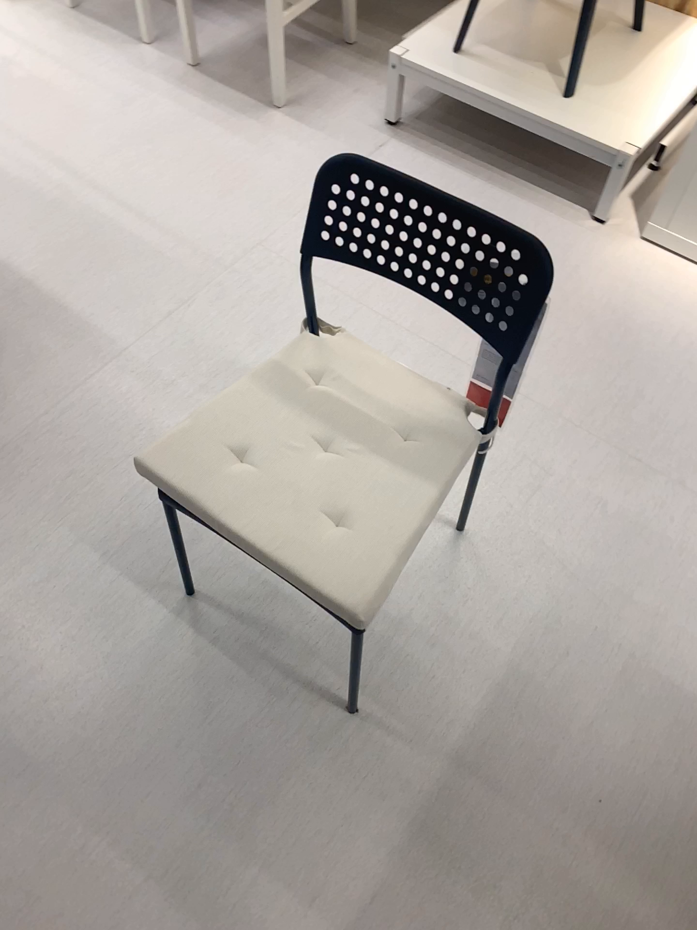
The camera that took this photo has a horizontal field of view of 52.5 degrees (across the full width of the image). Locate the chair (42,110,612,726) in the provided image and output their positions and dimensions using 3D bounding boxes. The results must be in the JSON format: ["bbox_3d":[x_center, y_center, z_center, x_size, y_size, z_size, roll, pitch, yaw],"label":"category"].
[{"bbox_3d":[-0.017,-0.013,1.131,0.450,0.759,0.491,32,62,17],"label":"chair"}]
